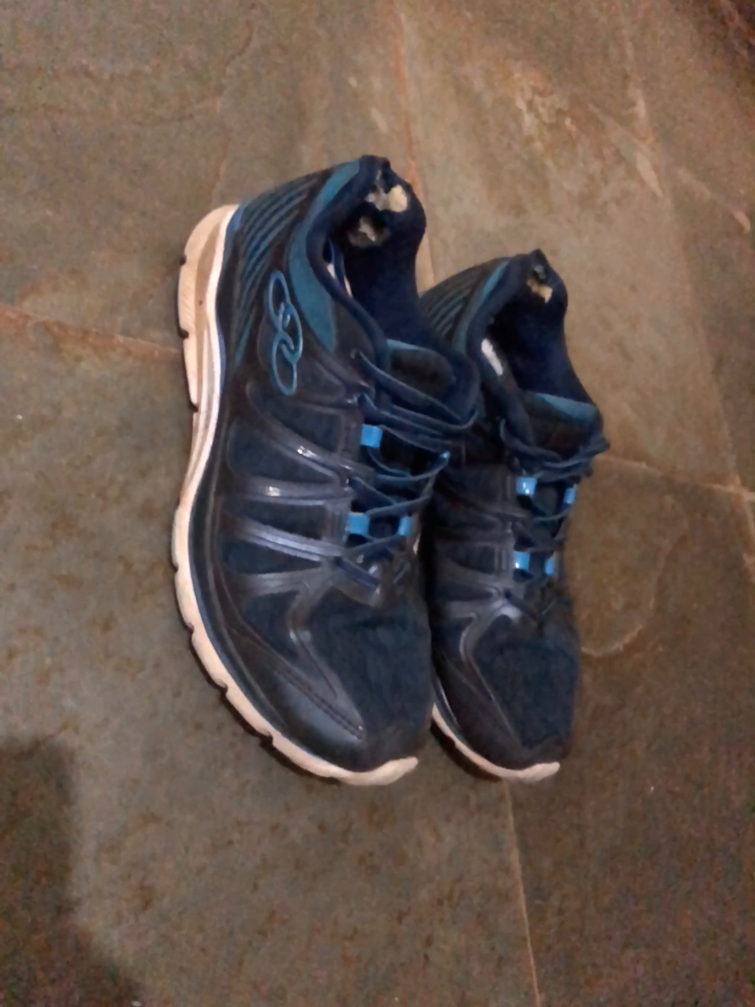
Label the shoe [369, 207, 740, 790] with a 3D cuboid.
[{"bbox_3d":[0.090,0.003,0.467,0.121,0.109,0.281,10,67,-41],"label":"shoe"}]

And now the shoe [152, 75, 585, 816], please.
[{"bbox_3d":[-0.014,-0.018,0.377,0.121,0.109,0.280,8,68,-41],"label":"shoe"}]
